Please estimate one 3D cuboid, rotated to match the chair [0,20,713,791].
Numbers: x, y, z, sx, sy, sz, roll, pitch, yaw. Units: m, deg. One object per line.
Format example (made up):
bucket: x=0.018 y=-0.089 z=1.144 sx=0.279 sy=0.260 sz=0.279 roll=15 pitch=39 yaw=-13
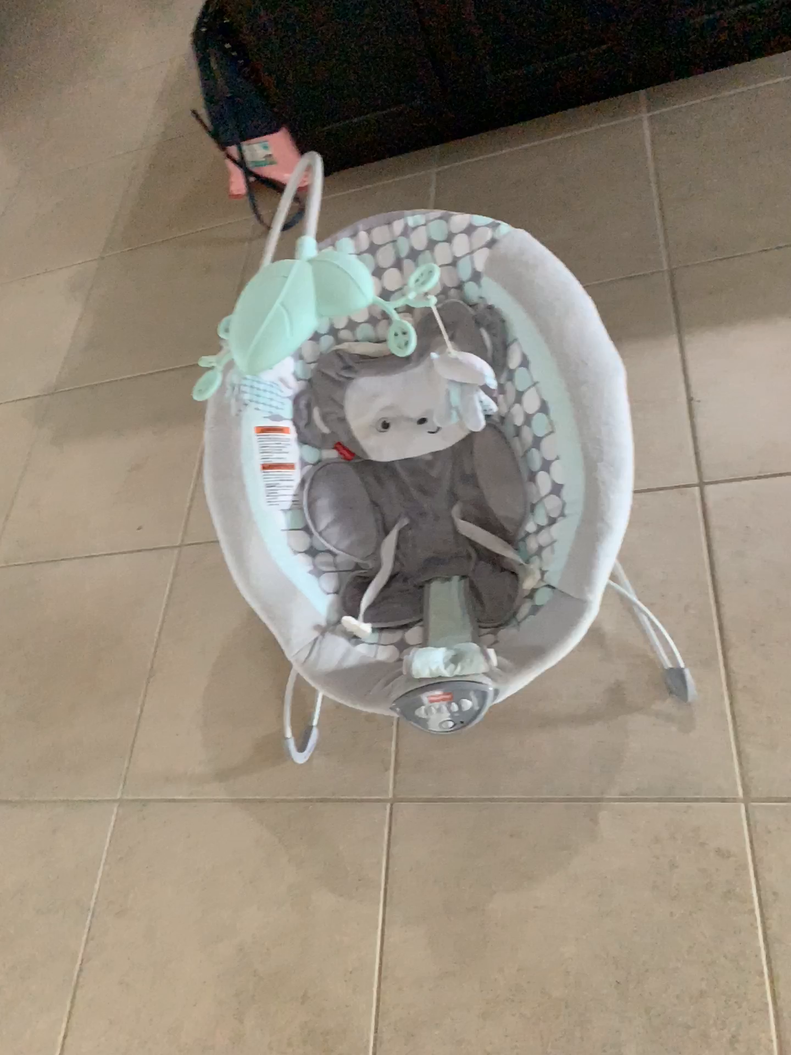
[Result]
chair: x=0.006 y=-0.065 z=0.949 sx=0.571 sy=0.579 sz=0.548 roll=-11 pitch=56 yaw=16
